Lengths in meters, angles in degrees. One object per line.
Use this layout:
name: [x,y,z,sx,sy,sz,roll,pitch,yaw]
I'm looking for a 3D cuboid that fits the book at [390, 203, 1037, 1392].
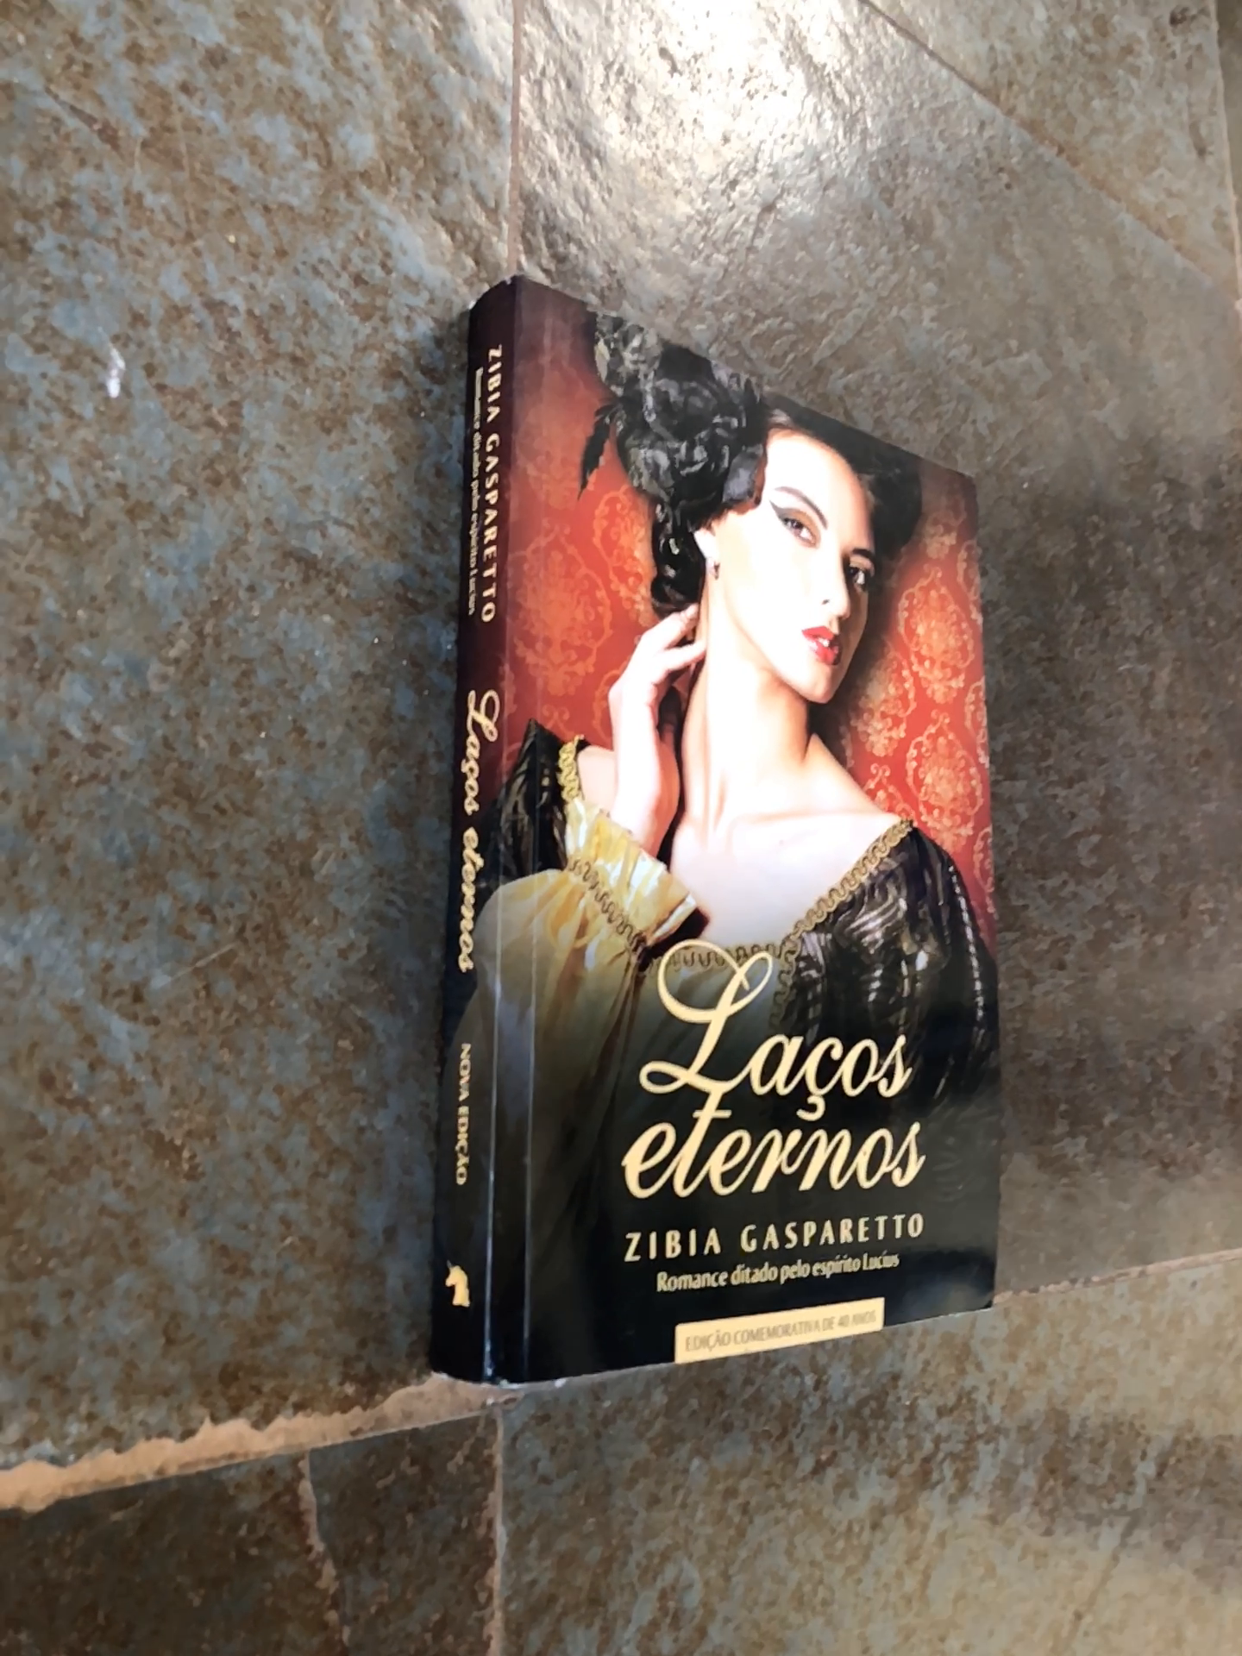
book: [0.028,-0.002,0.290,0.154,0.026,0.204,10,75,-40]
